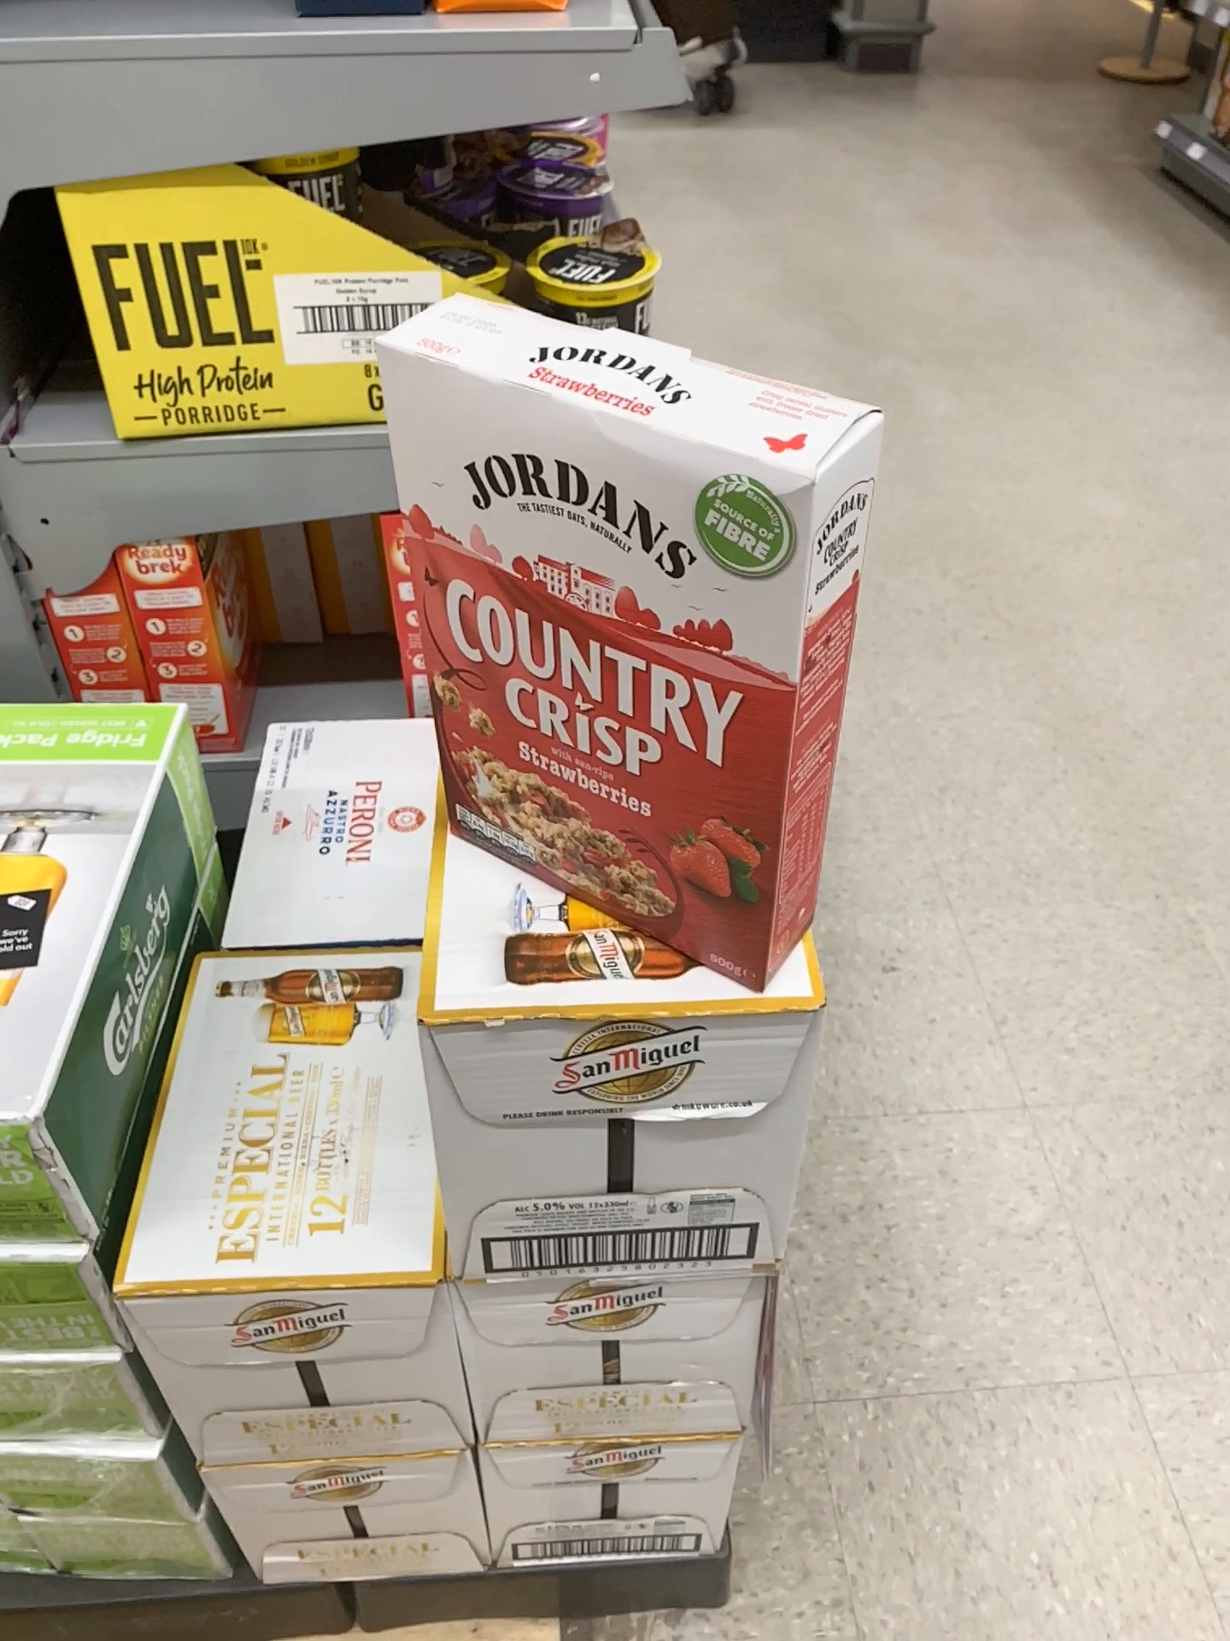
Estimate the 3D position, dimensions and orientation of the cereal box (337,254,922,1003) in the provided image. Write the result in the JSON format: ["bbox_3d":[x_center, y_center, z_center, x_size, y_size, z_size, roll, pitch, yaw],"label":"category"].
[{"bbox_3d":[0.001,-0.067,0.499,0.191,0.248,0.060,25,50,24],"label":"cereal box"}]
